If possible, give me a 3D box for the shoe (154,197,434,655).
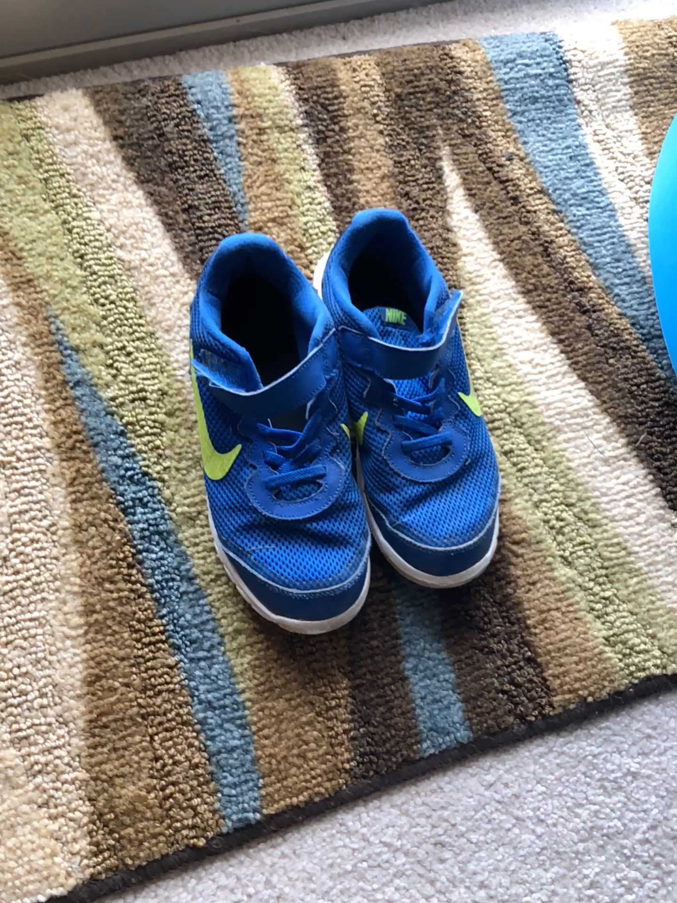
[{"bbox_3d":[-0.033,-0.017,0.419,0.102,0.075,0.233,-9,73,-12],"label":"shoe"}]

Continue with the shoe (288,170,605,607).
[{"bbox_3d":[0.052,-0.039,0.440,0.103,0.075,0.231,-12,74,-13],"label":"shoe"}]
